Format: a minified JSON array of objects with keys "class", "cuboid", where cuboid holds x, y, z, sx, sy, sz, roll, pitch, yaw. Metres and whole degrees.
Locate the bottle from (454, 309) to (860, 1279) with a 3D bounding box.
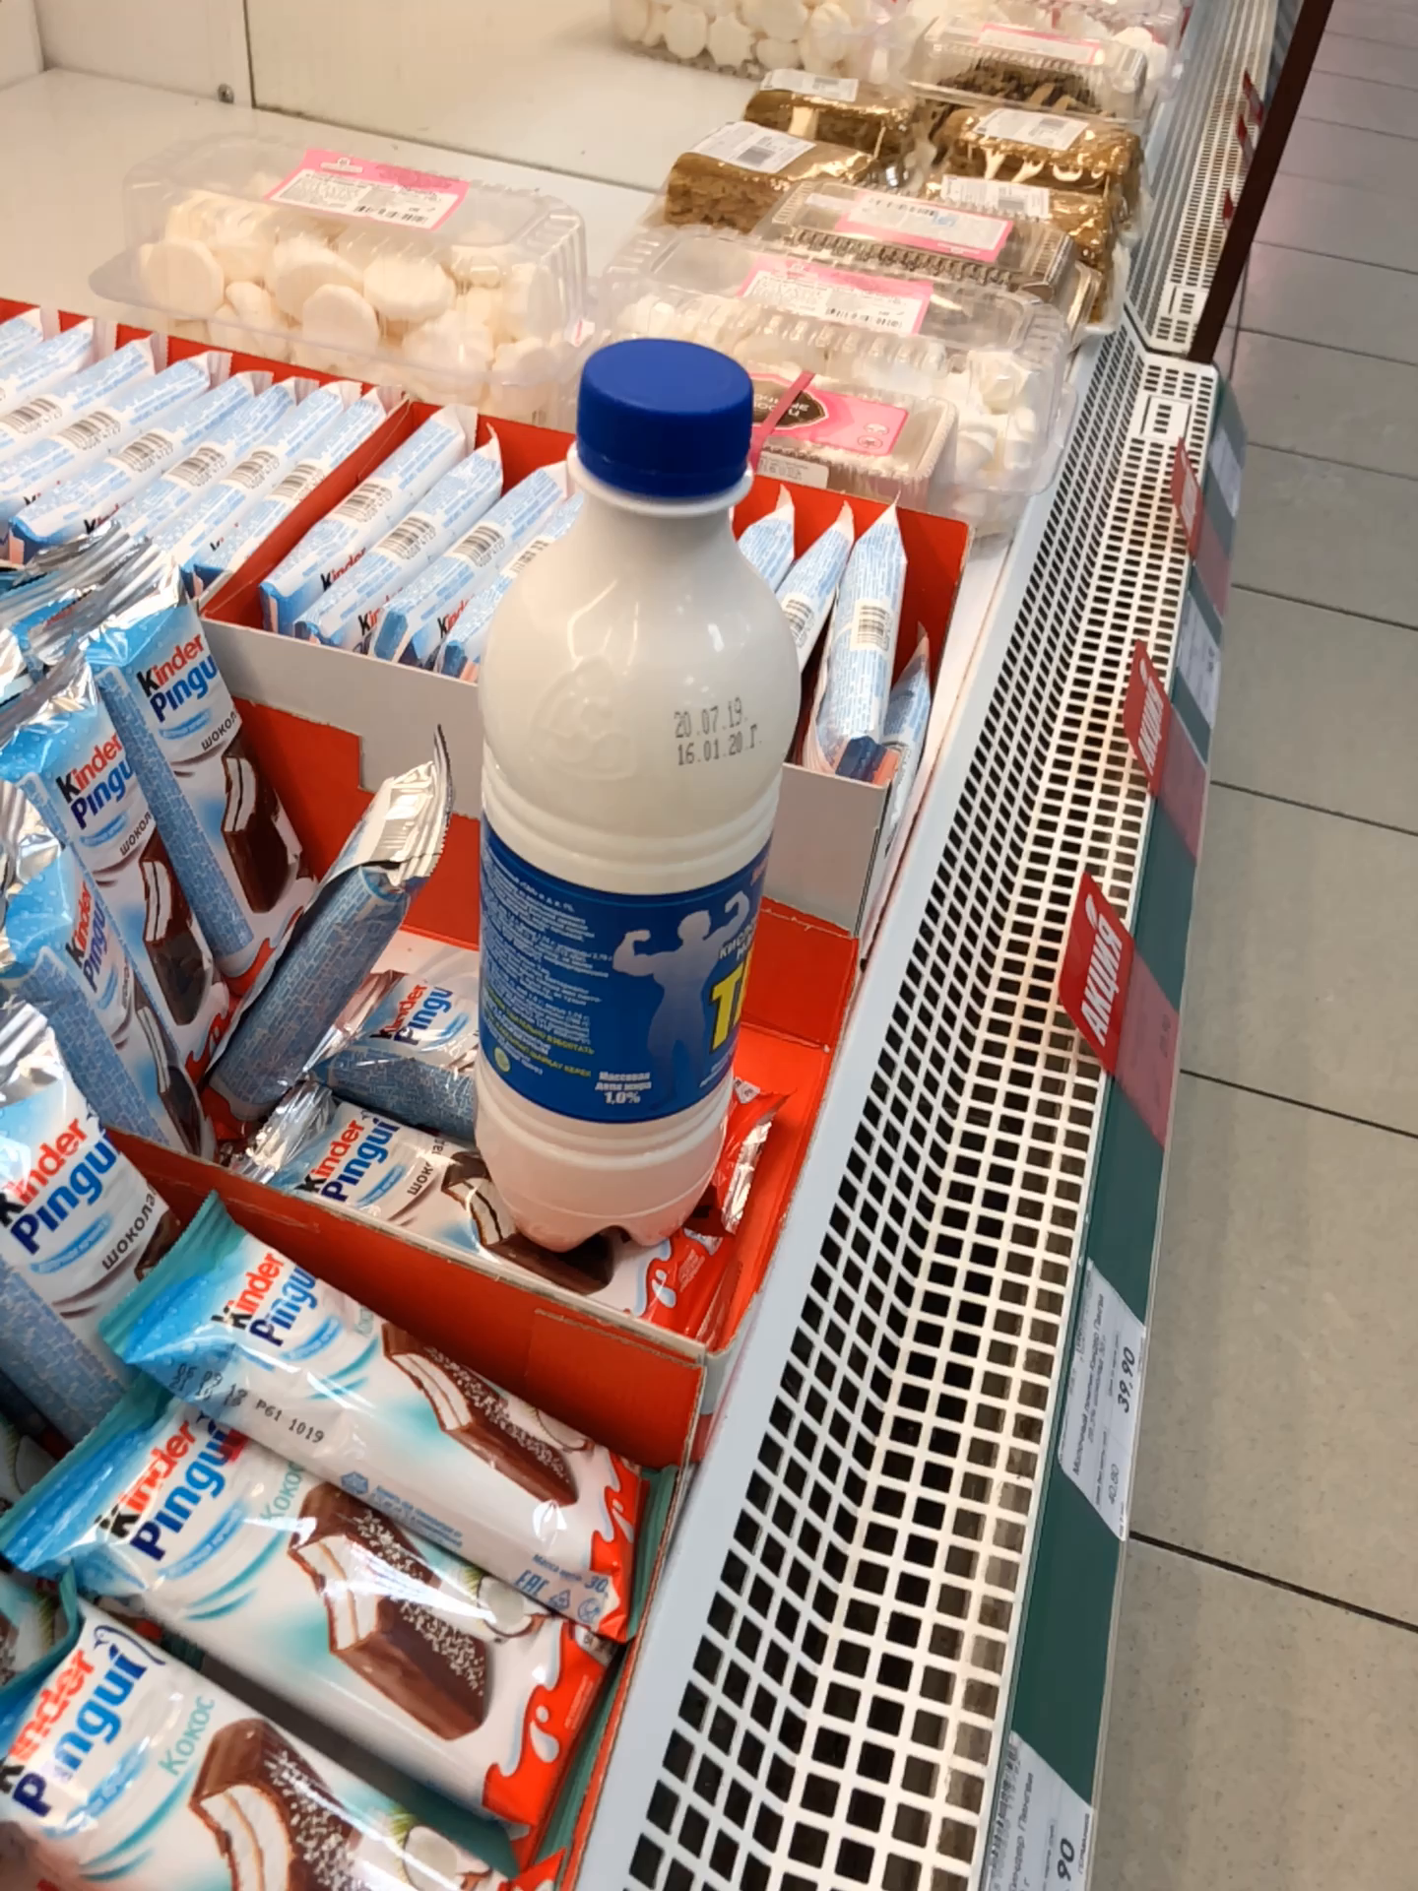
[{"class":"bottle","cuboid":[-0.016,-0.018,0.334,0.059,0.202,0.064,4,44,-4]}]
